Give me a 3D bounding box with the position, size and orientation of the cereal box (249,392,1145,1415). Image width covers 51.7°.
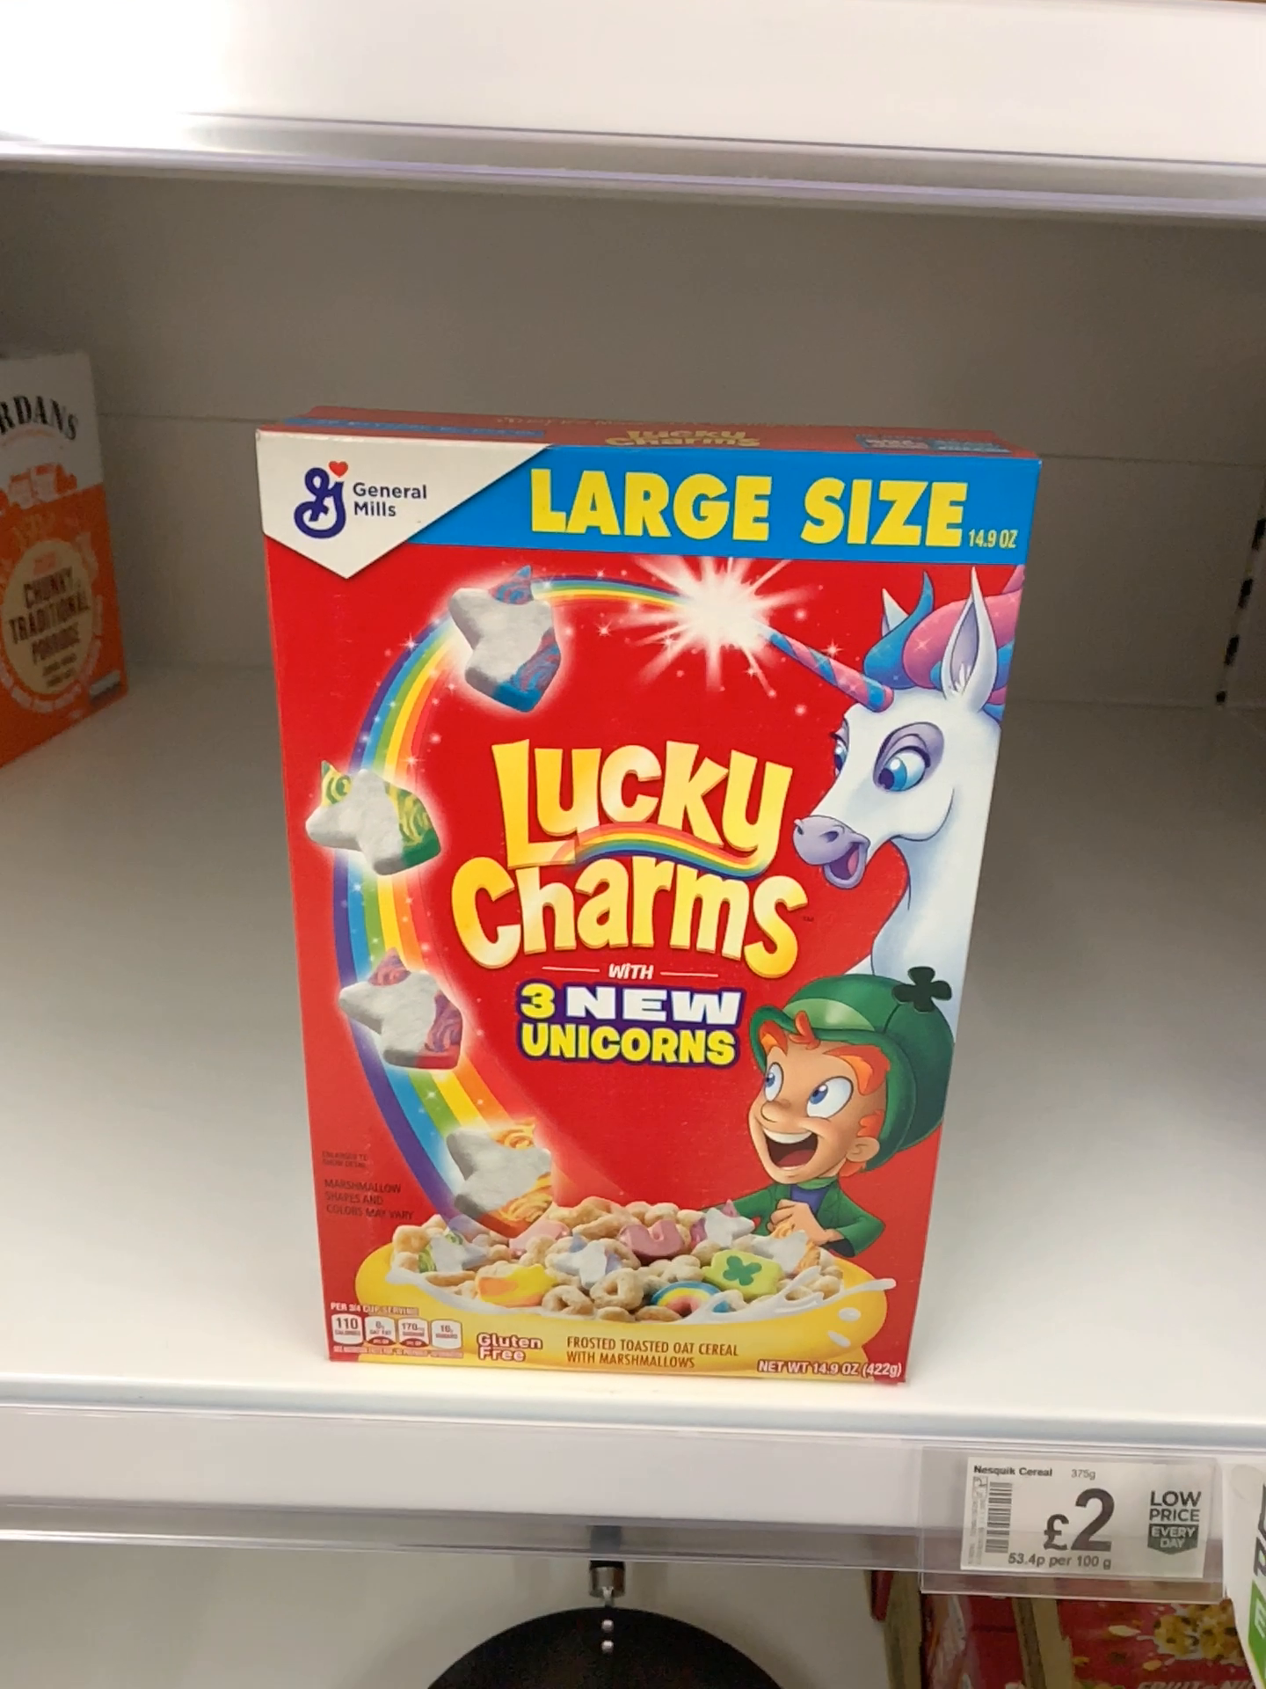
[{"bbox_3d":[0.009,0.028,0.395,0.210,0.298,0.071,3,23,0],"label":"cereal box"}]
